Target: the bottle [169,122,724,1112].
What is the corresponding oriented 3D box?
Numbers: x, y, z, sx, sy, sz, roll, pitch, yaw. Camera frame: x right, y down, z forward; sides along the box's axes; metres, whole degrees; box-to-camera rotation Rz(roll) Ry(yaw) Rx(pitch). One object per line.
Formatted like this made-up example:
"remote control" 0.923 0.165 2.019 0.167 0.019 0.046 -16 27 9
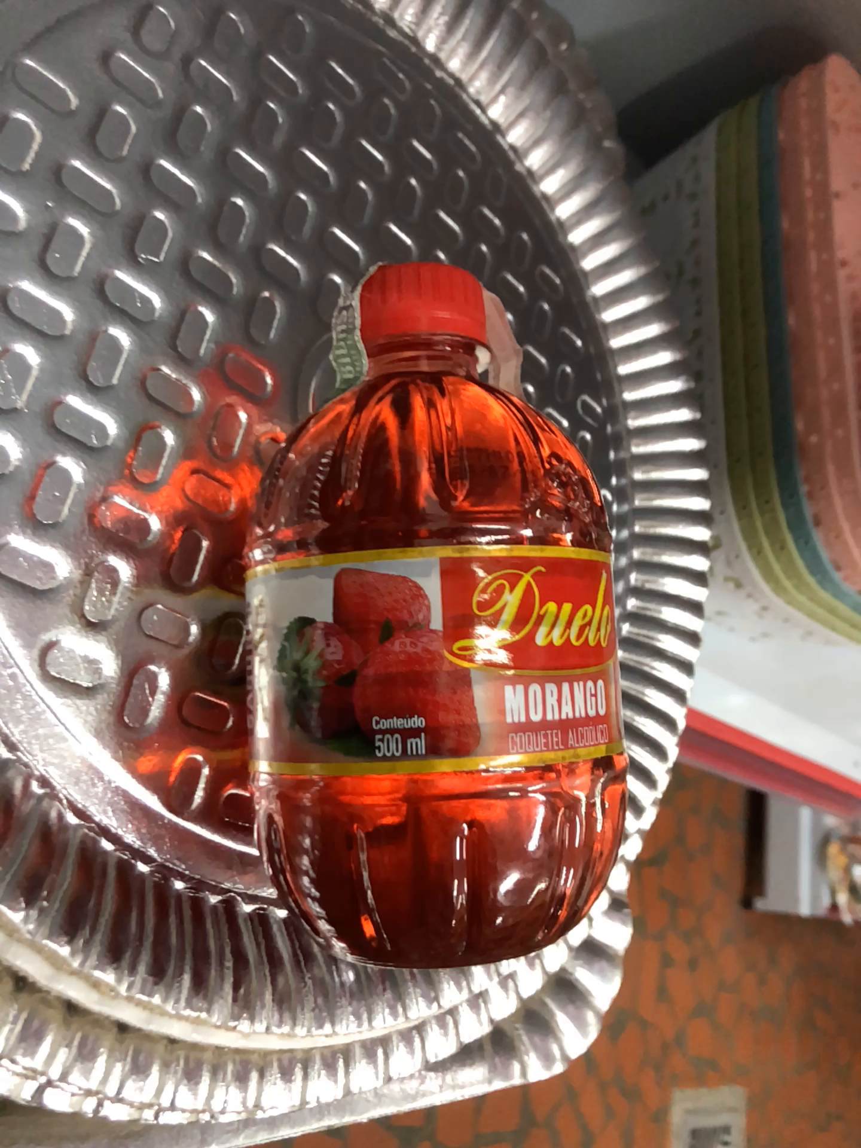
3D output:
"bottle" 0.004 0.008 0.203 0.091 0.069 0.150 3 83 -46
